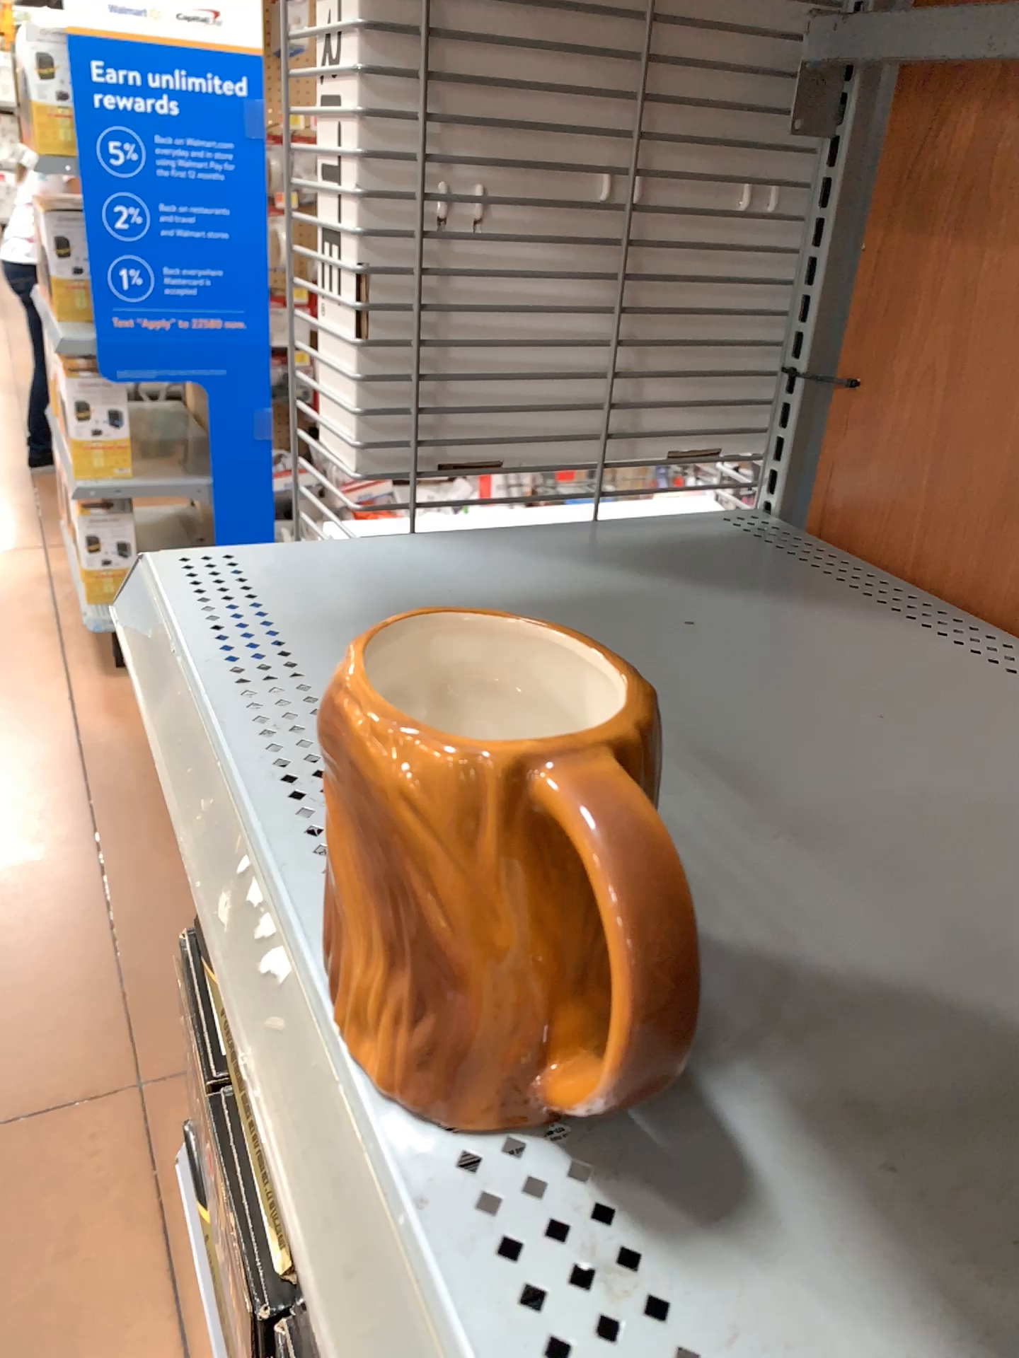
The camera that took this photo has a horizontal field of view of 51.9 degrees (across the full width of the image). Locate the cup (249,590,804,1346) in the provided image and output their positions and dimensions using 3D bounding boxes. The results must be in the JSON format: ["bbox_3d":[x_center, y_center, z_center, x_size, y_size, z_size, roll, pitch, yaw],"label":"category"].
[{"bbox_3d":[-0.010,0.067,0.298,0.097,0.138,0.132,-7,29,-23],"label":"cup"}]
